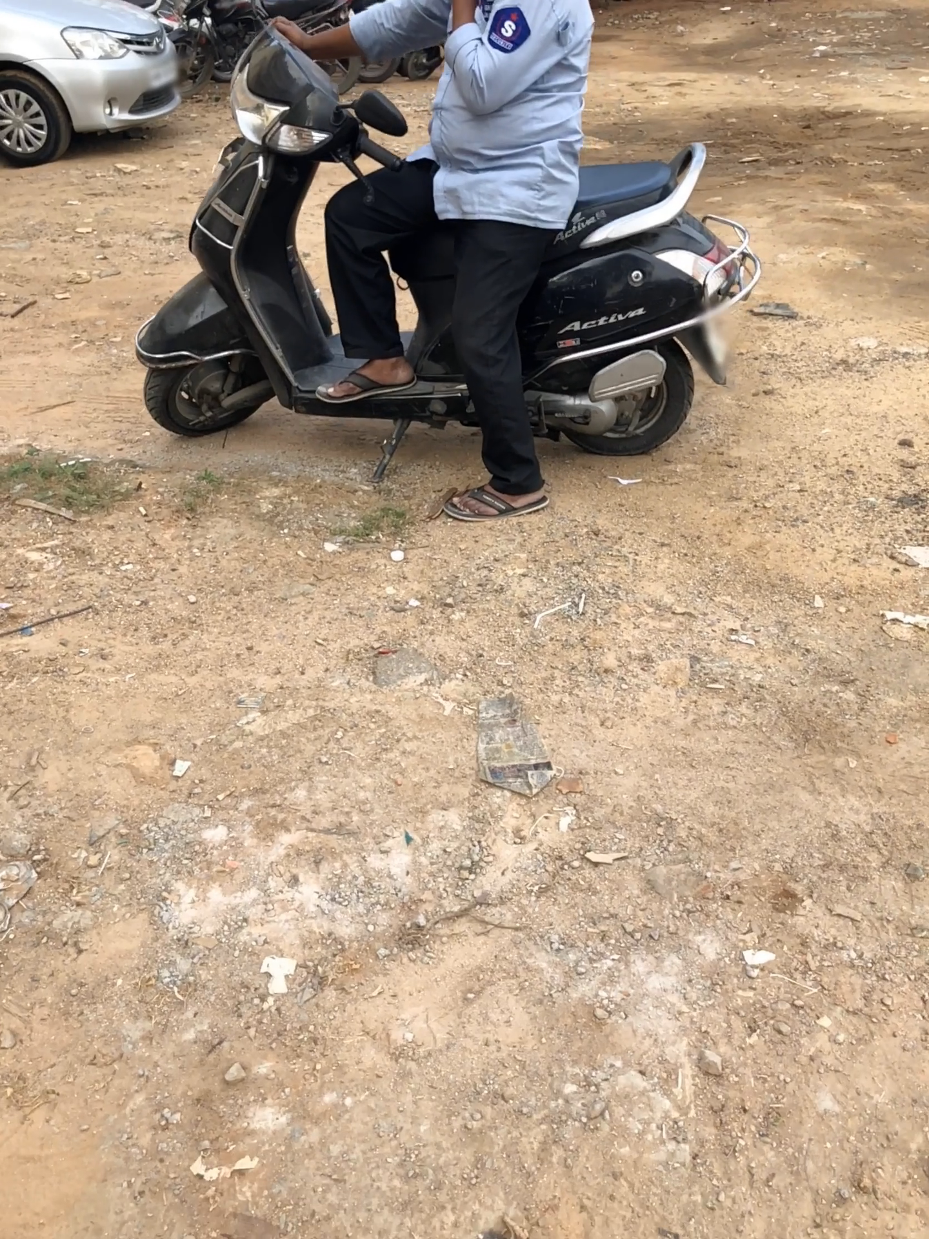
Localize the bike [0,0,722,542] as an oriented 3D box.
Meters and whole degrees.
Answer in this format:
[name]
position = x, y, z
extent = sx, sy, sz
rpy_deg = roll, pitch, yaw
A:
[bike]
position = -0.181, -0.829, 2.566
extent = 1.522, 1.102, 0.578
rpy_deg = 0, 34, 10
